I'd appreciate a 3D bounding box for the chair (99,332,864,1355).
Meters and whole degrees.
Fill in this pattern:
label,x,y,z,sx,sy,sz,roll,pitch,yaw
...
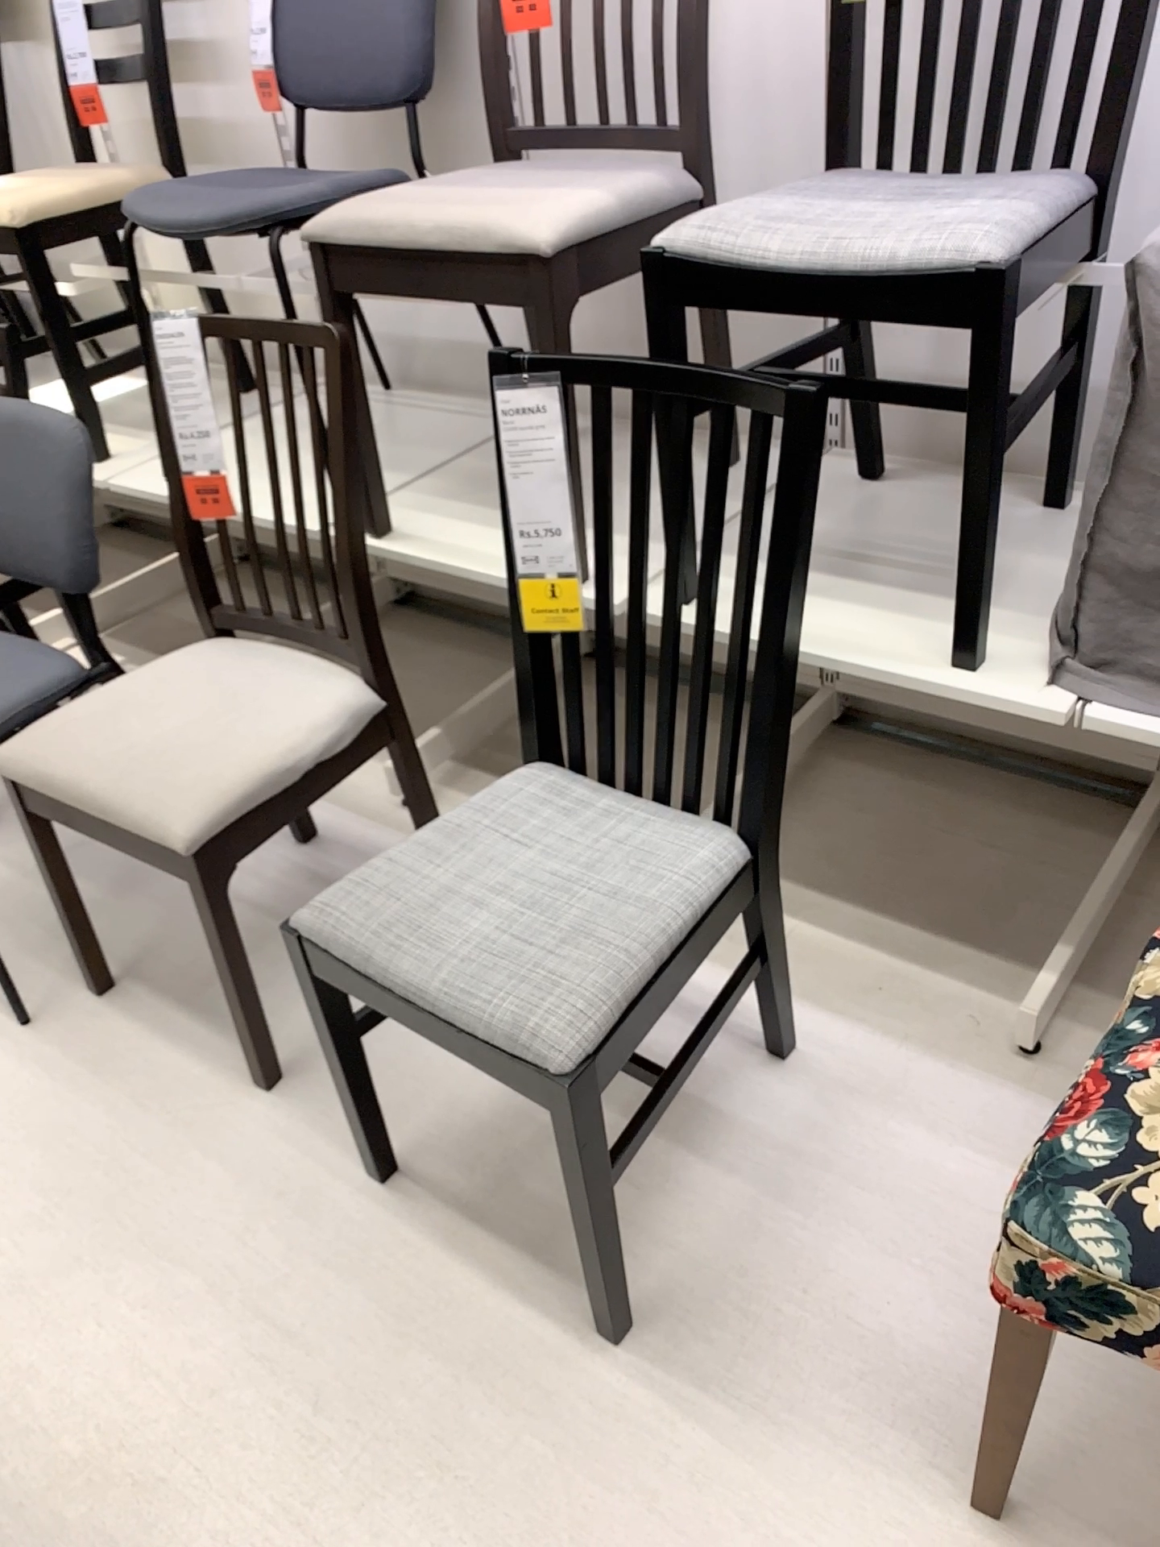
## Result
label,x,y,z,sx,sy,sz,roll,pitch,yaw
chair,-0.023,0.063,1.324,0.441,0.896,0.551,20,44,34
